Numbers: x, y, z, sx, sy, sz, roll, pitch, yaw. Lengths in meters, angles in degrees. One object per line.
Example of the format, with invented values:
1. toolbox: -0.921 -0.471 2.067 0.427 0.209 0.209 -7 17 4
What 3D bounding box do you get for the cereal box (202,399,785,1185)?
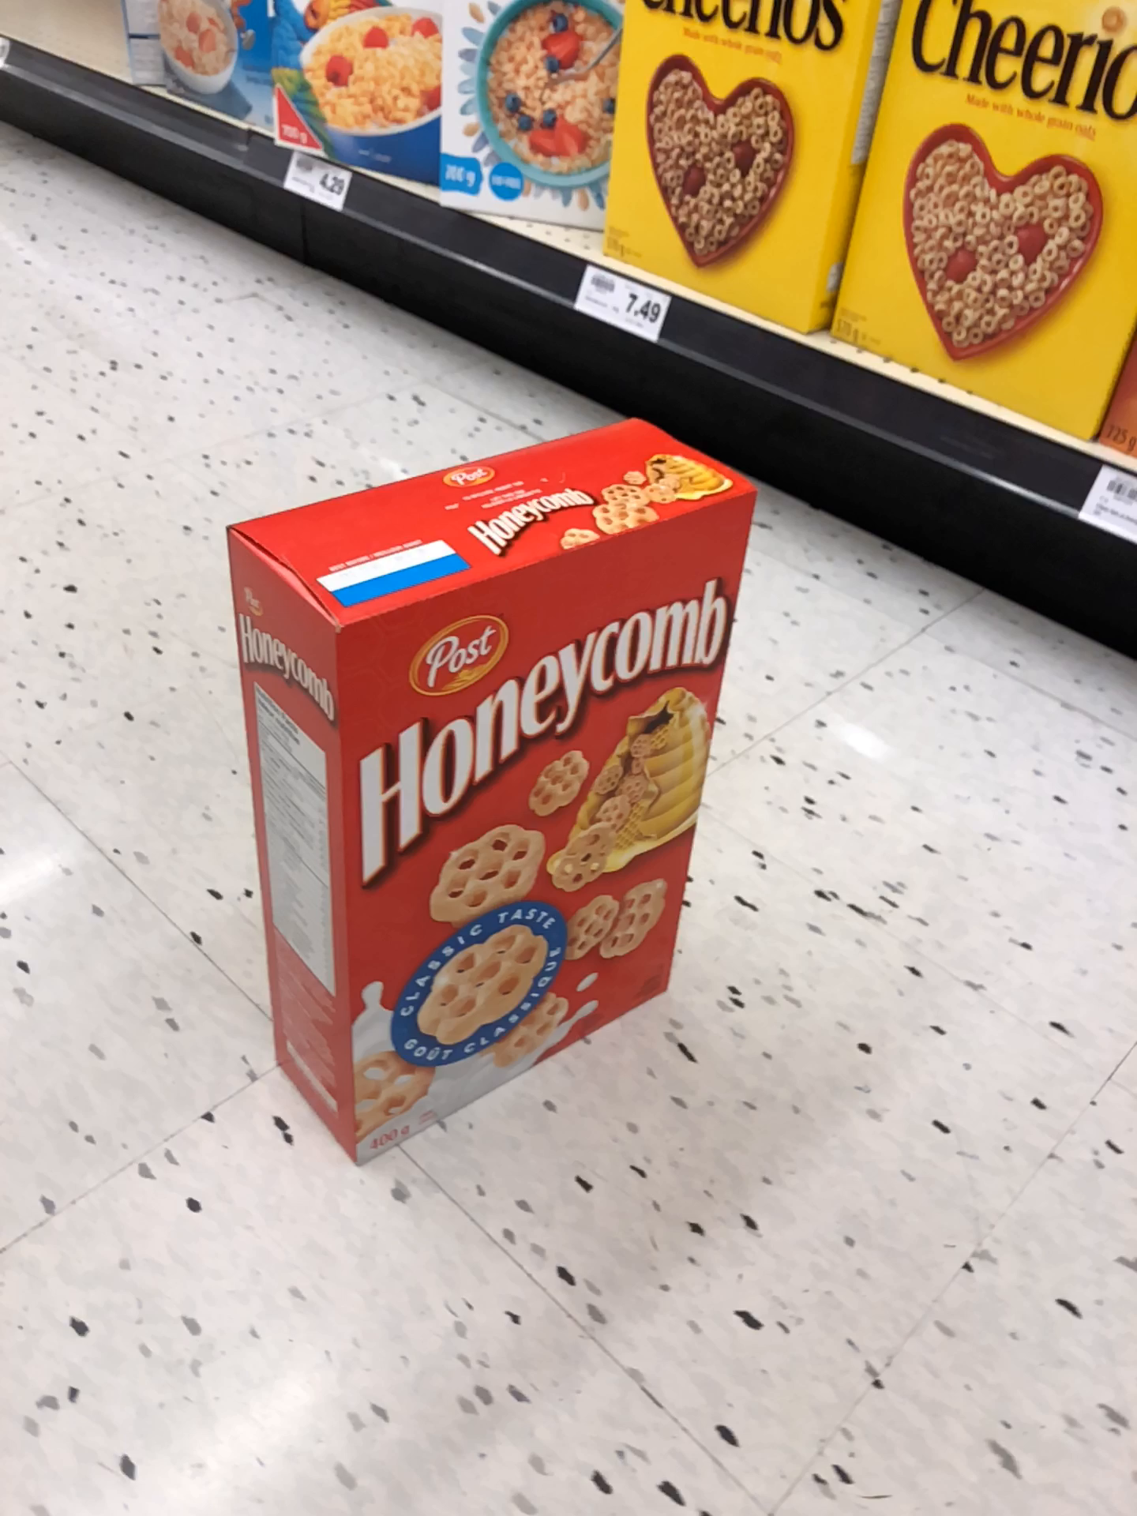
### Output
1. cereal box: -0.033 0.020 0.543 0.201 0.298 0.080 -23 47 -31
